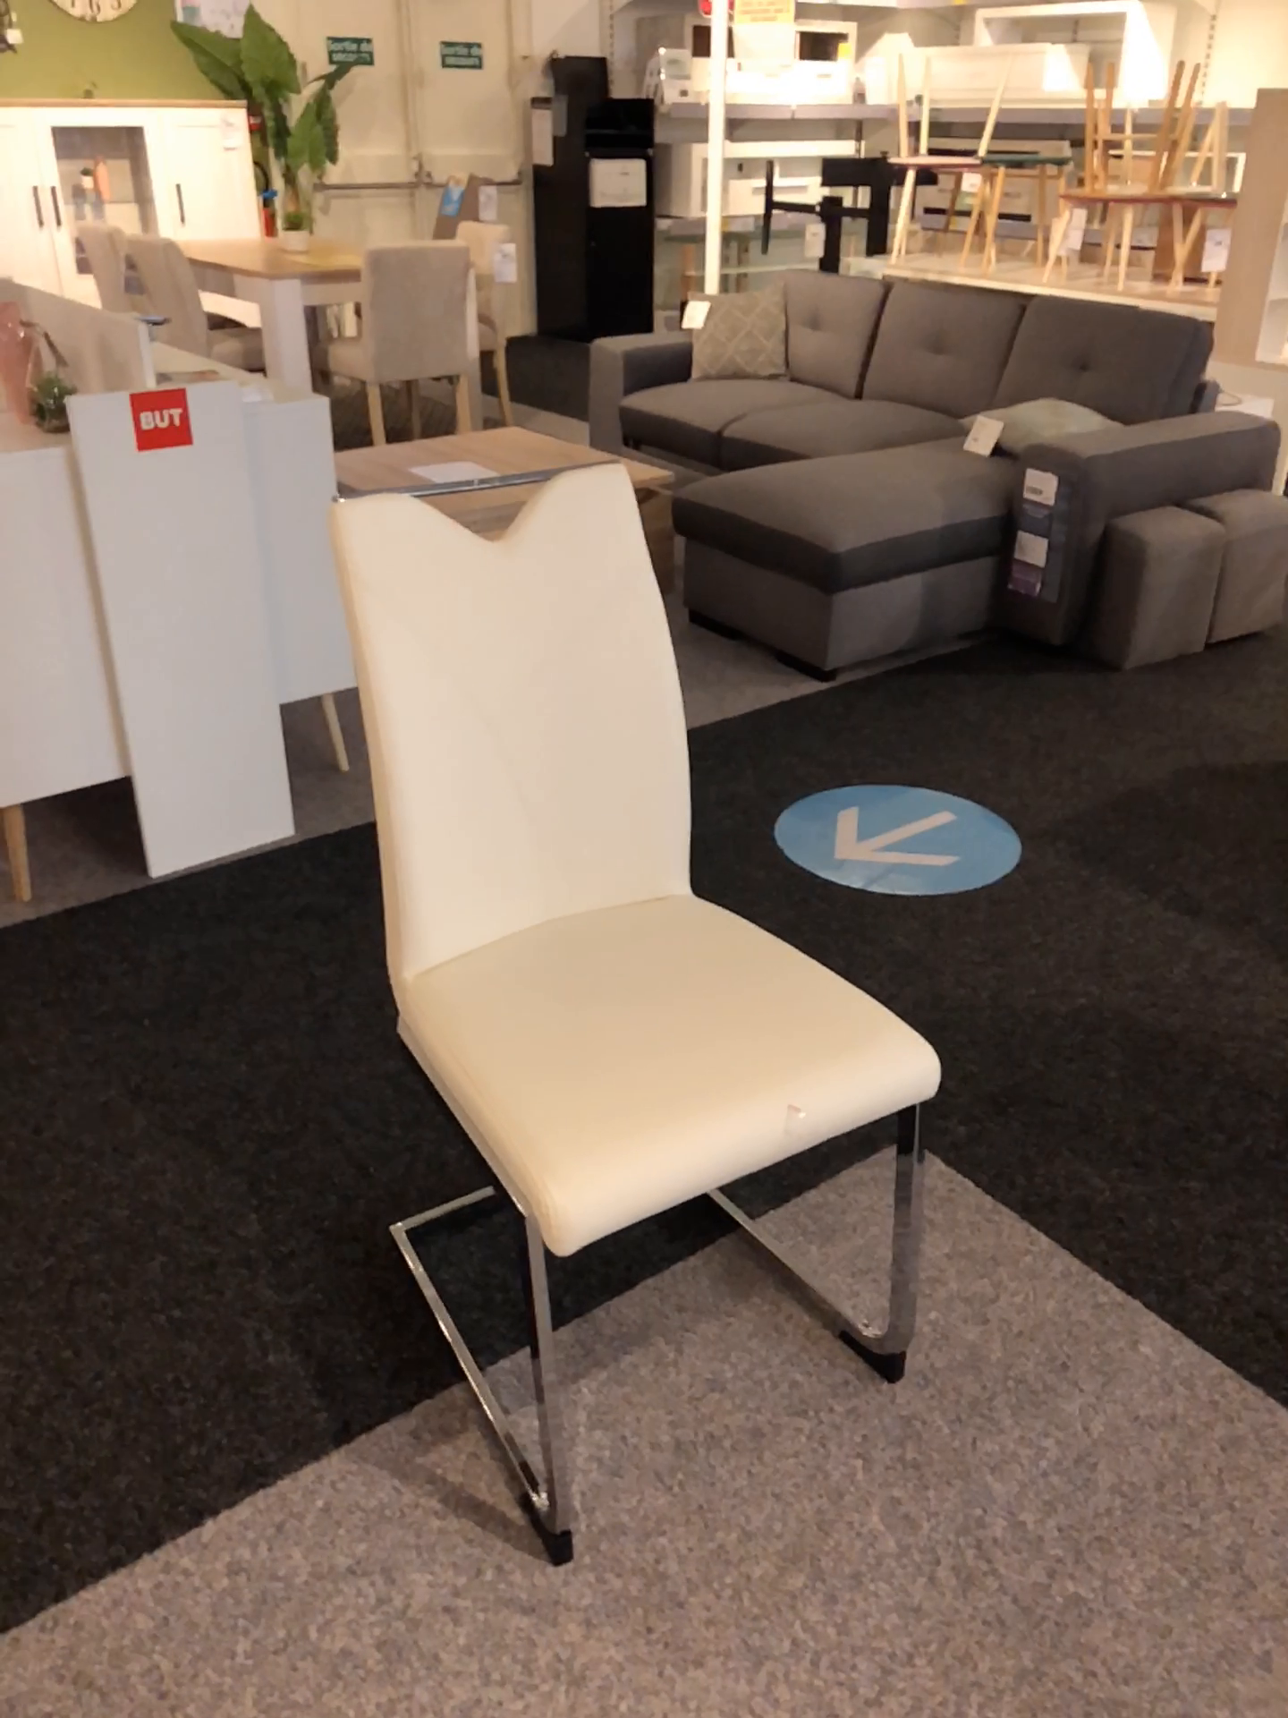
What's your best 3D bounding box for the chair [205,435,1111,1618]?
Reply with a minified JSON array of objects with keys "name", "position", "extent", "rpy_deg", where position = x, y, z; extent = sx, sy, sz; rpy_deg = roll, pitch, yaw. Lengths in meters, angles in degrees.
[{"name":"chair","position":[-0.018,0.104,1.480],"extent":[0.563,0.915,0.630],"rpy_deg":[-17,32,-31]}]
